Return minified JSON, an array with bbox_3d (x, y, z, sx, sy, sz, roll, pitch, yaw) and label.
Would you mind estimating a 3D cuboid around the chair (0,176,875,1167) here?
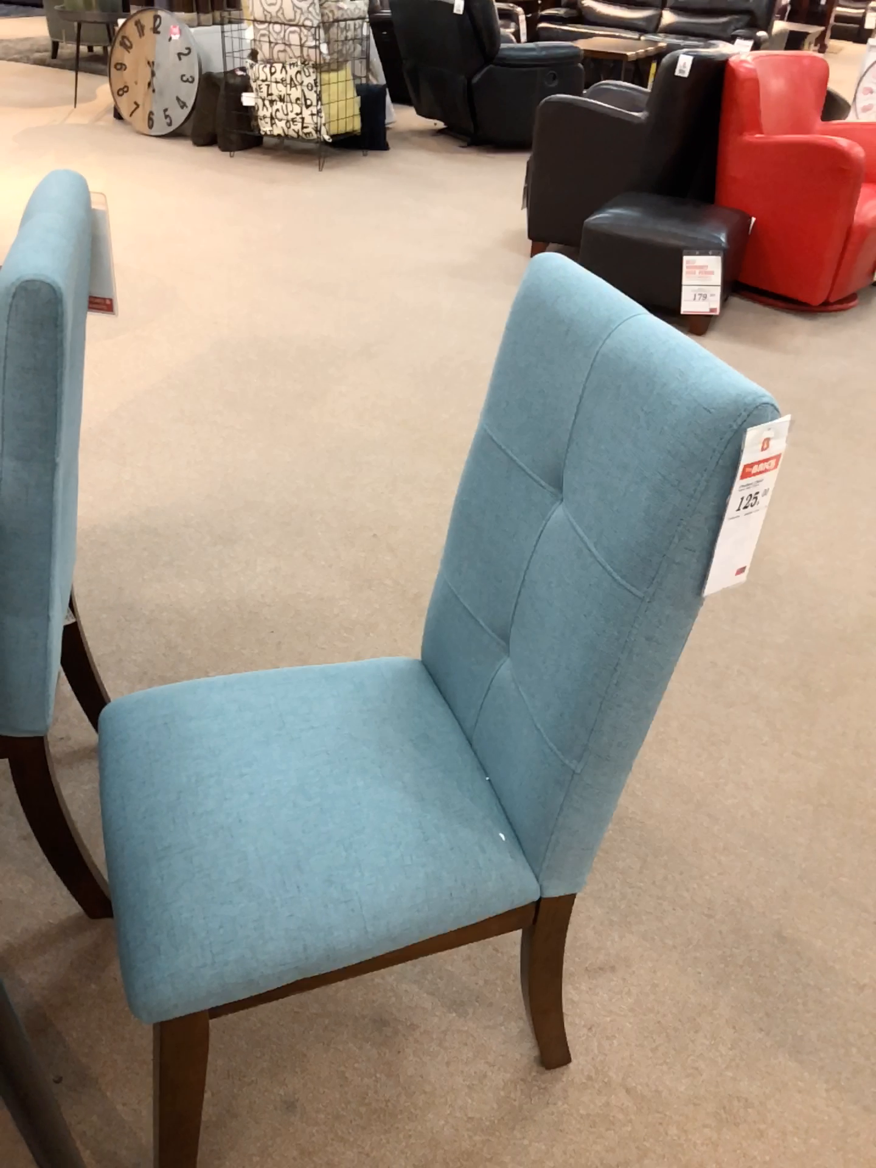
[{"bbox_3d":[-0.125,0.163,1.026,0.620,0.993,0.543,-7,36,-20],"label":"chair"}]
